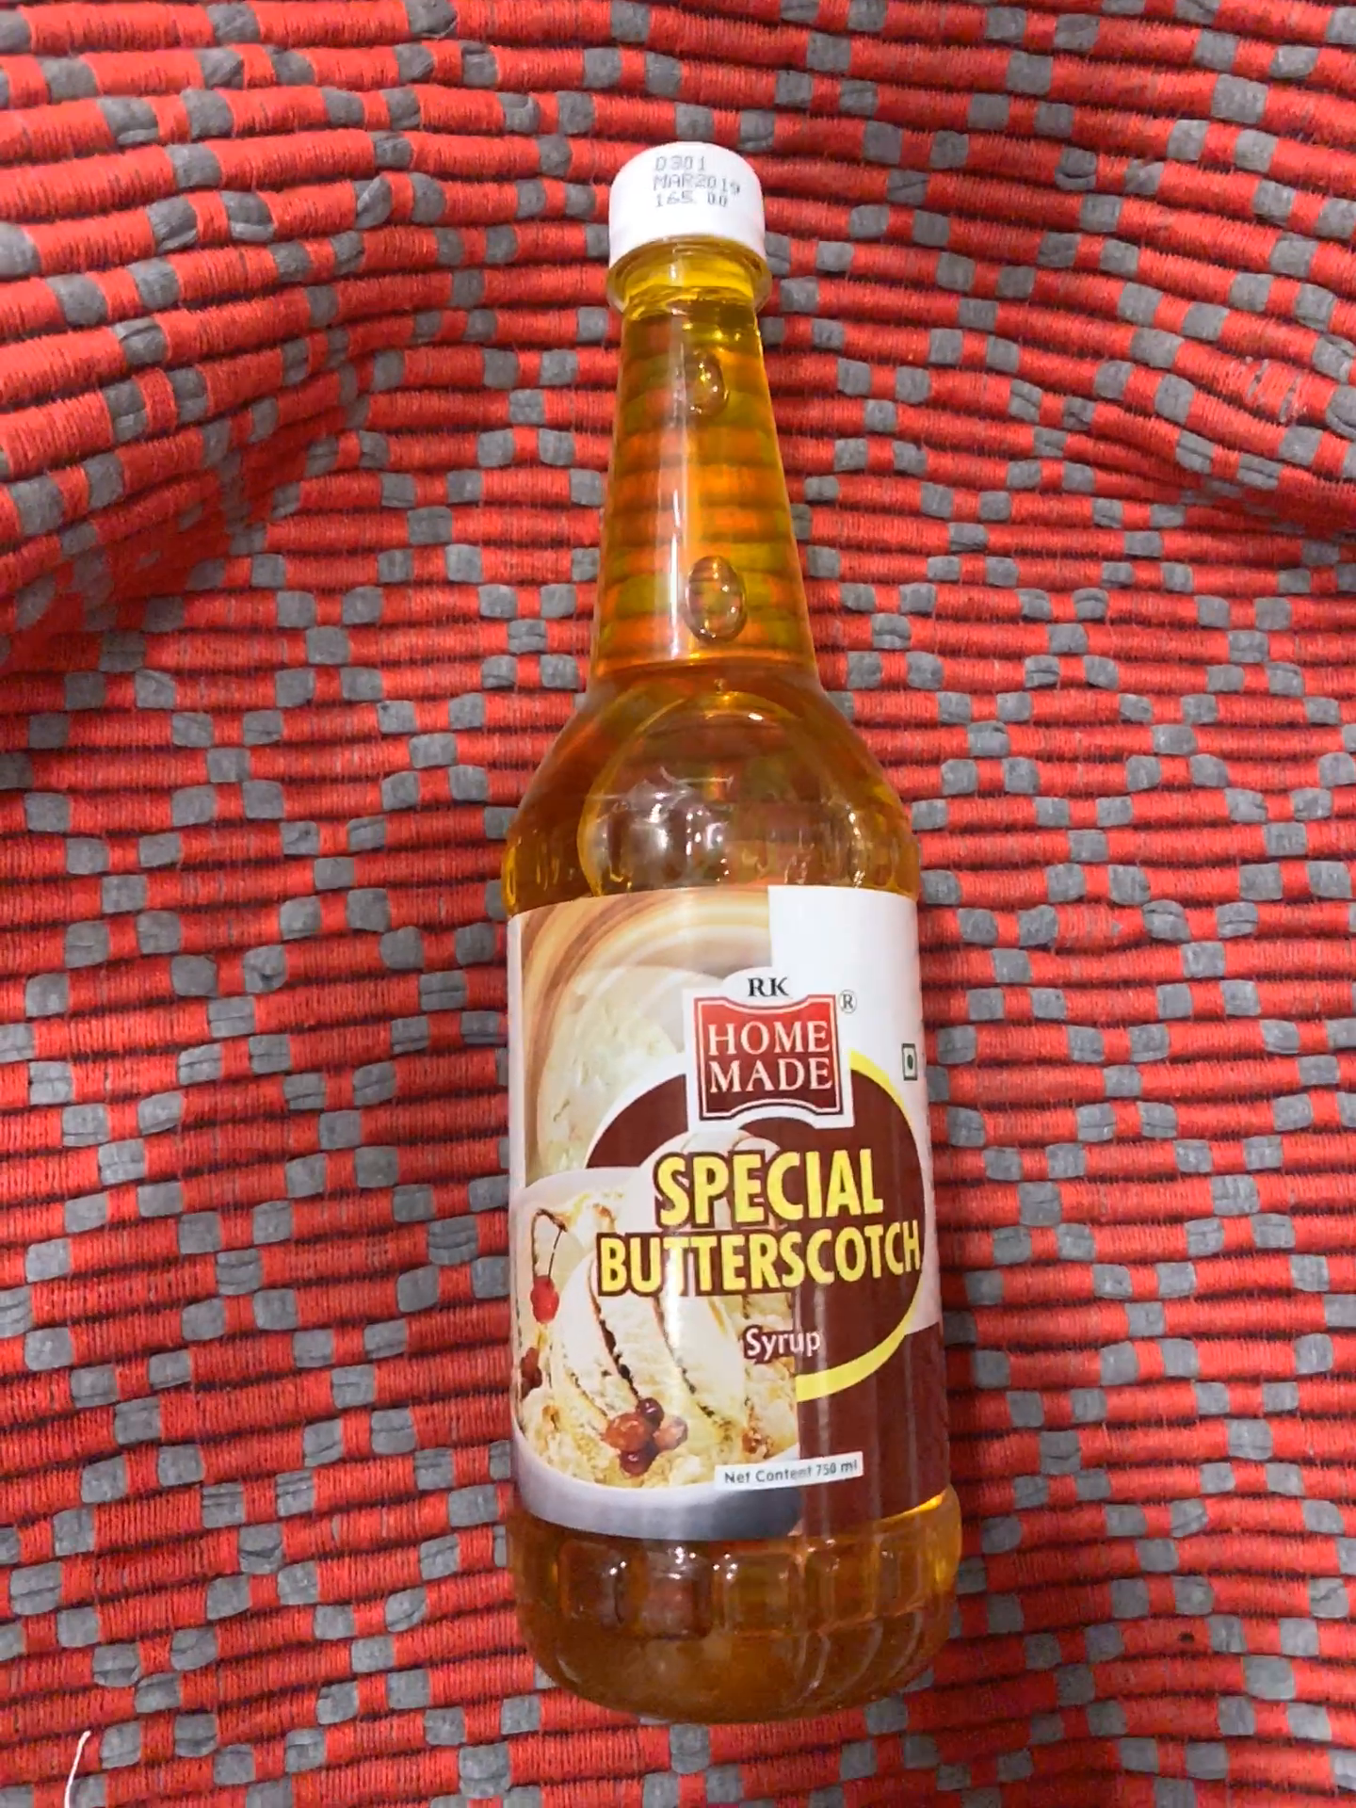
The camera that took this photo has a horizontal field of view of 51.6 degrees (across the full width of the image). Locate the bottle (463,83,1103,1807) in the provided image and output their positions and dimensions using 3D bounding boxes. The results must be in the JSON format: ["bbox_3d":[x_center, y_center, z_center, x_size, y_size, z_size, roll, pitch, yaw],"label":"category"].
[{"bbox_3d":[0.007,-0.004,0.237,0.080,0.060,0.260,-1,77,-6],"label":"bottle"}]
